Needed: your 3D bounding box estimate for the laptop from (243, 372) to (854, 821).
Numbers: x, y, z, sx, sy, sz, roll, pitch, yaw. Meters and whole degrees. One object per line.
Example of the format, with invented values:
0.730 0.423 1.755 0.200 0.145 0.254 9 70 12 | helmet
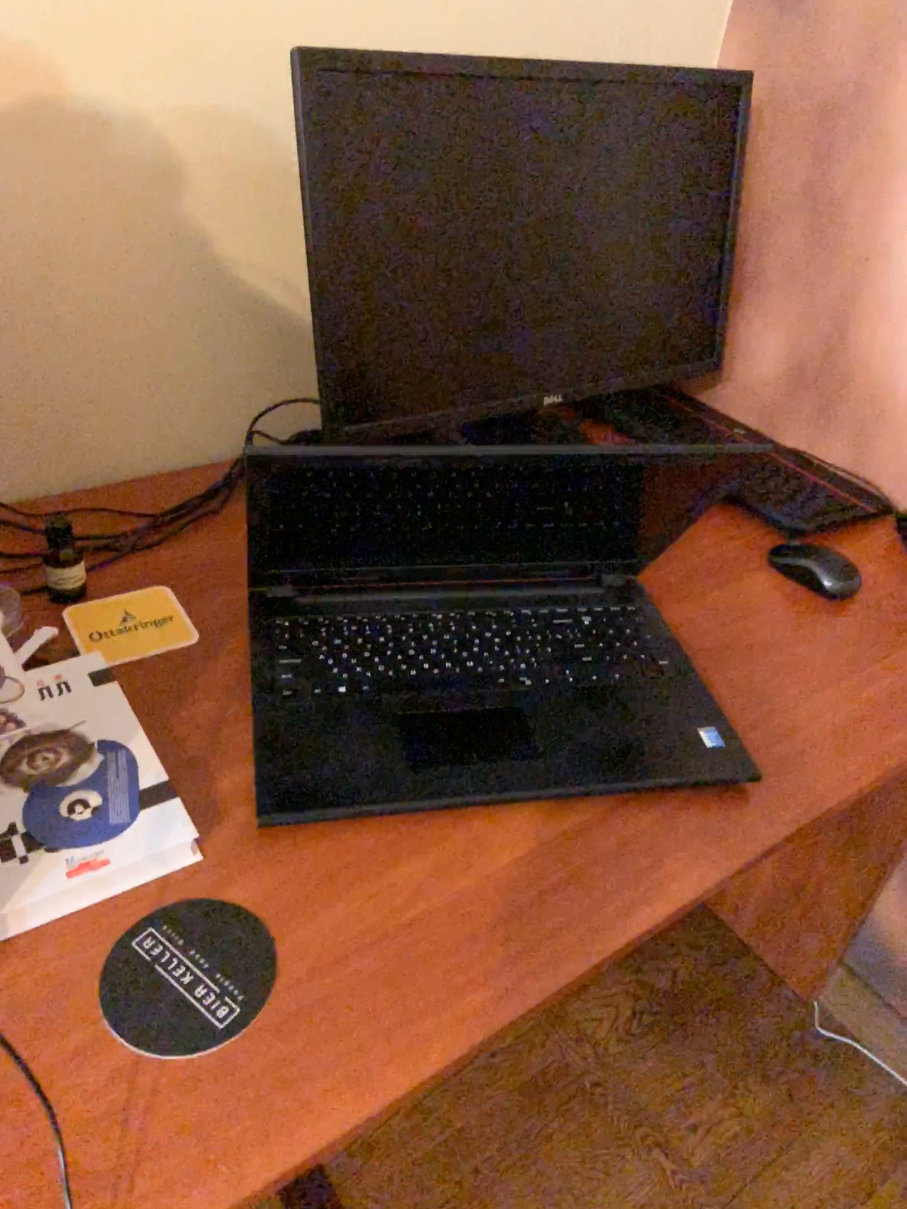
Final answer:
0.038 -0.021 0.694 0.373 0.202 0.247 -2 38 -14 | laptop
